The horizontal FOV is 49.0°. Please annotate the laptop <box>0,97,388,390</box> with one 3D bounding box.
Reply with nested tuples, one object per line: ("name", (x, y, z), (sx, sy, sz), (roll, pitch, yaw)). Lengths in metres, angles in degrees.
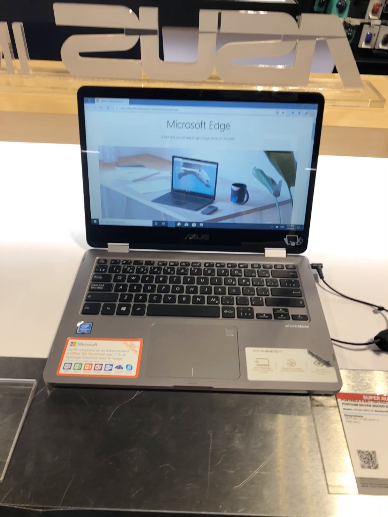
("laptop", (0.008, -0.035, 0.482), (0.304, 0.212, 0.279), (2, 37, 2))
